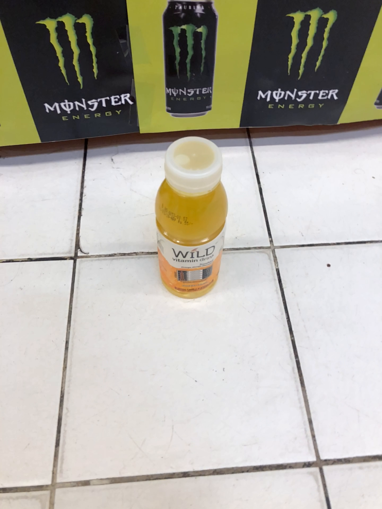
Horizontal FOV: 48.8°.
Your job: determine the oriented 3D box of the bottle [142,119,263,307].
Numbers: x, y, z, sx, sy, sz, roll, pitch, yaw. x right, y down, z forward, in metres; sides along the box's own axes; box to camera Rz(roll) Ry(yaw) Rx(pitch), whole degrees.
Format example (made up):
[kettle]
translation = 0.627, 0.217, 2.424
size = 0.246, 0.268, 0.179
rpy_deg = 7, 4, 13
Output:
[bottle]
translation = 0.004, -0.025, 0.333
size = 0.070, 0.139, 0.070
rpy_deg = 1, 56, -1
